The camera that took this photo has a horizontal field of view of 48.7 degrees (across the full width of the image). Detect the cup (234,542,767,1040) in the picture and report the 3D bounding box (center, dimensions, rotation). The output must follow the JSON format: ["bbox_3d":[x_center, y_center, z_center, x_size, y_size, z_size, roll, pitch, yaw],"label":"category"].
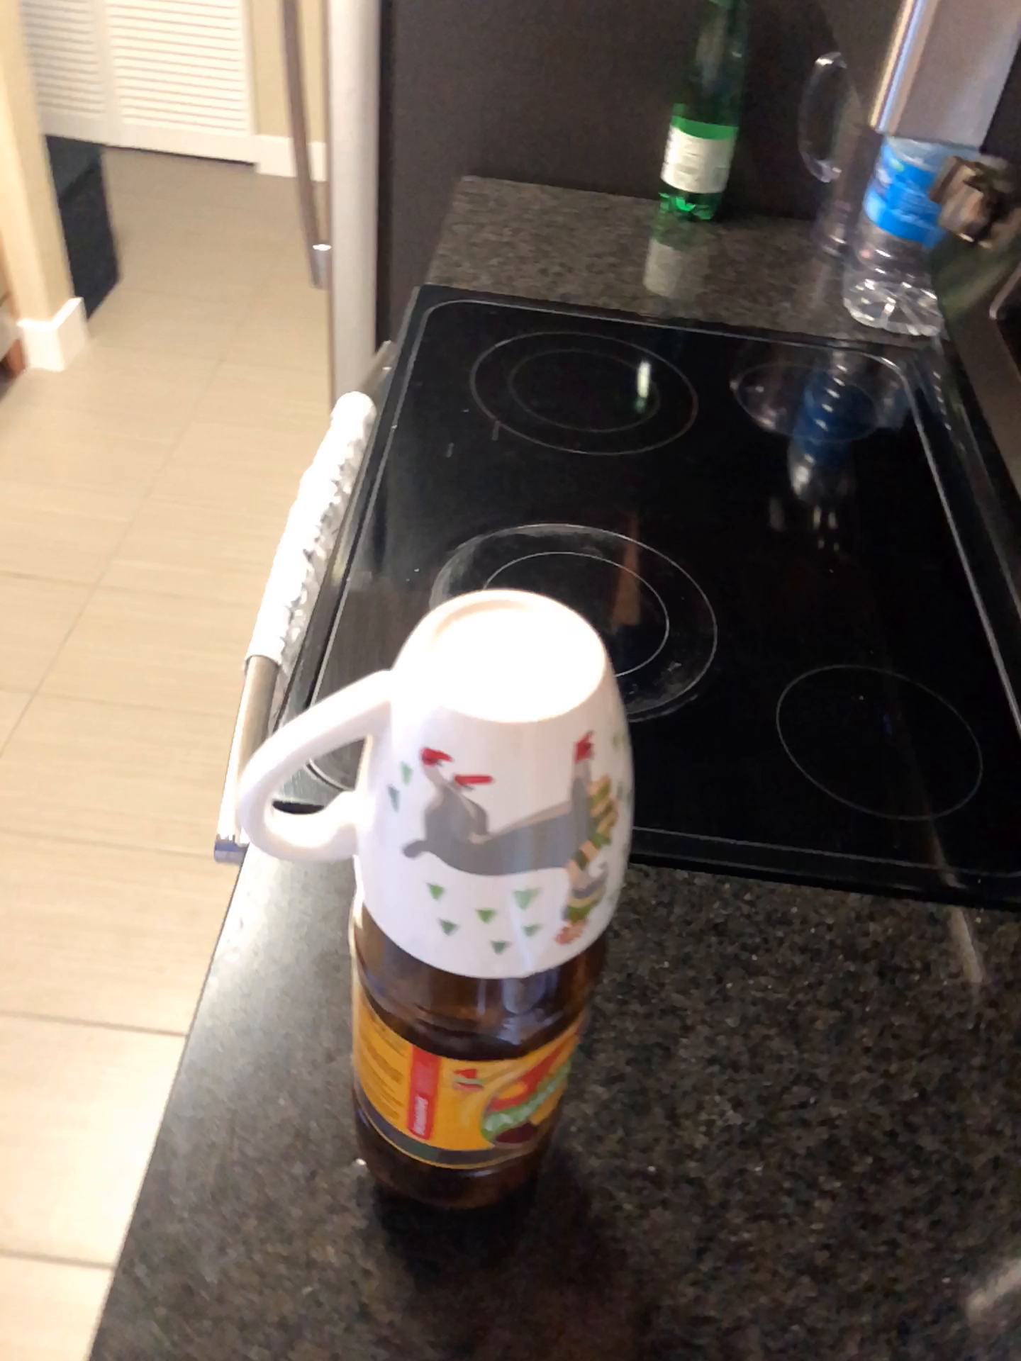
[{"bbox_3d":[-0.012,0.034,0.381,0.140,0.110,0.100,-8,47,-16],"label":"cup"}]
